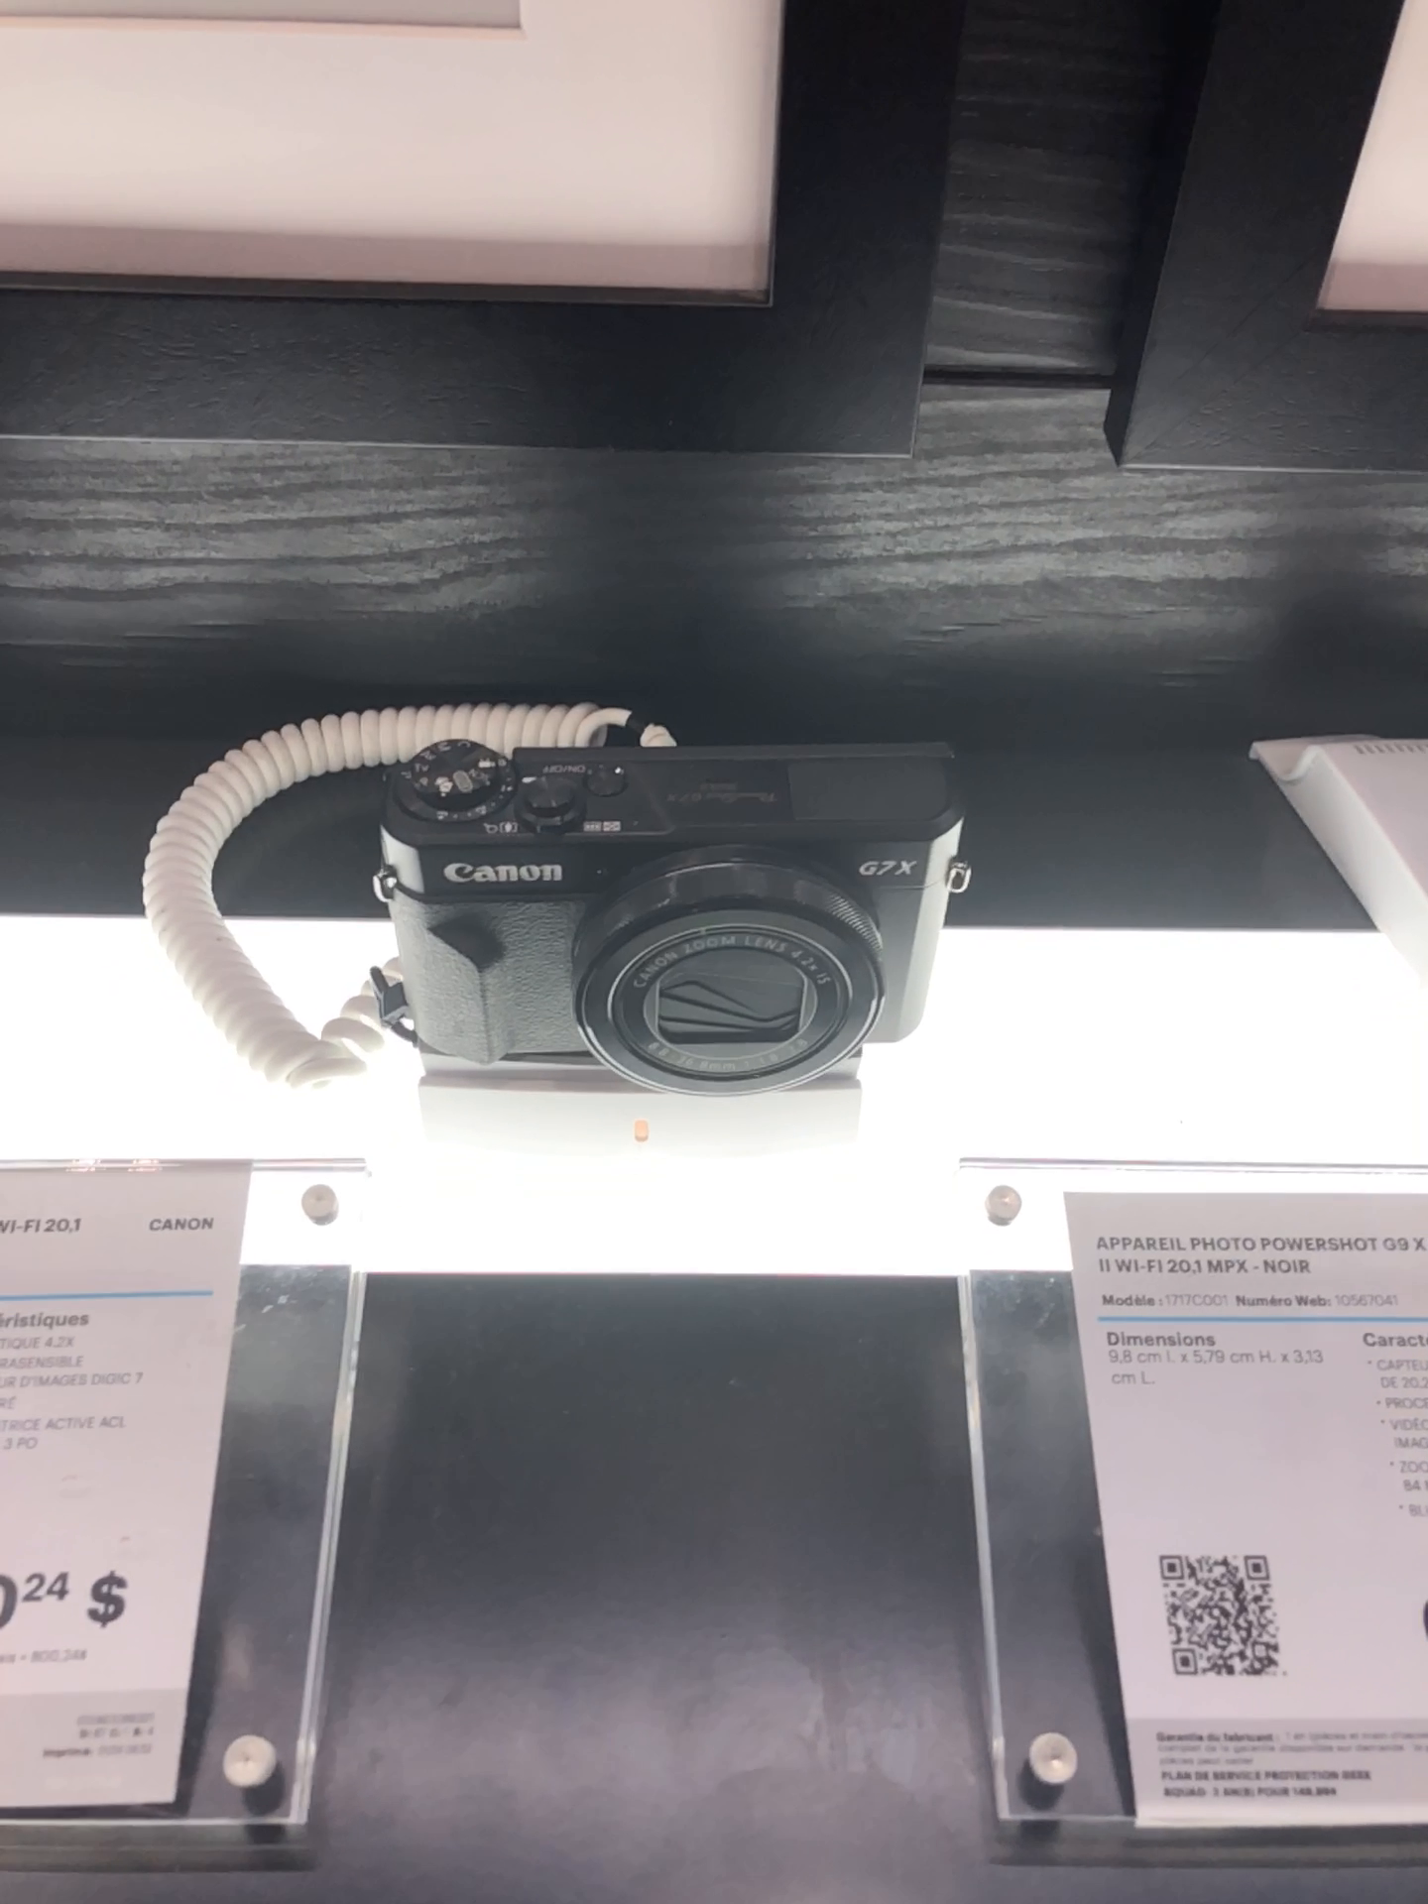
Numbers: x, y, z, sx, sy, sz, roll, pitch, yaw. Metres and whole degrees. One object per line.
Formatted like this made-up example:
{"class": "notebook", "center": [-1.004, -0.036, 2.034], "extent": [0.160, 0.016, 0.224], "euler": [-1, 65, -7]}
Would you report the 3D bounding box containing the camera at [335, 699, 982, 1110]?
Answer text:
{"class": "camera", "center": [-0.011, -0.008, 0.307], "extent": [0.110, 0.079, 0.030], "euler": [-1, 44, -3]}
